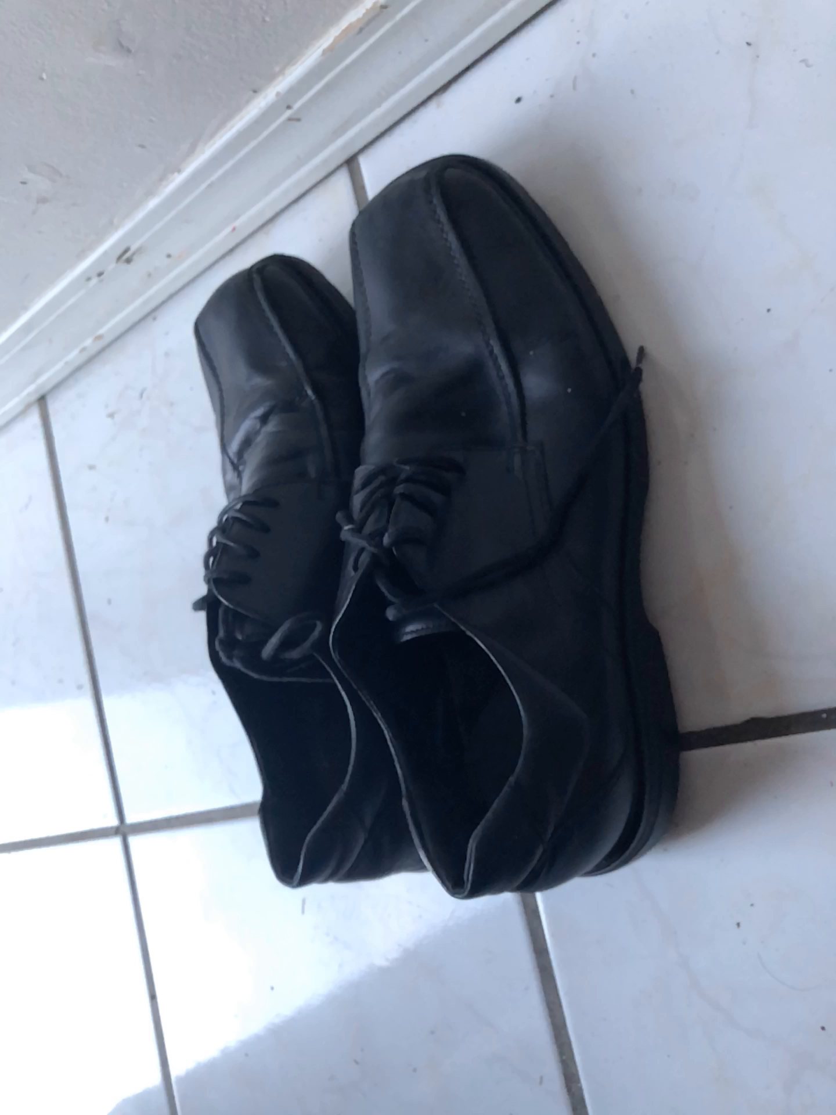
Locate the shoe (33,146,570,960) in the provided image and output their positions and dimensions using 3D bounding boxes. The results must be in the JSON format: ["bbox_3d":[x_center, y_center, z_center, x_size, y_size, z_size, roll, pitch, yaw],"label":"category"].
[{"bbox_3d":[-0.057,0.000,0.395,0.121,0.099,0.290,-26,76,38],"label":"shoe"}]

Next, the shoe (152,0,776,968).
[{"bbox_3d":[0.010,-0.024,0.326,0.111,0.099,0.290,-22,79,38],"label":"shoe"}]
